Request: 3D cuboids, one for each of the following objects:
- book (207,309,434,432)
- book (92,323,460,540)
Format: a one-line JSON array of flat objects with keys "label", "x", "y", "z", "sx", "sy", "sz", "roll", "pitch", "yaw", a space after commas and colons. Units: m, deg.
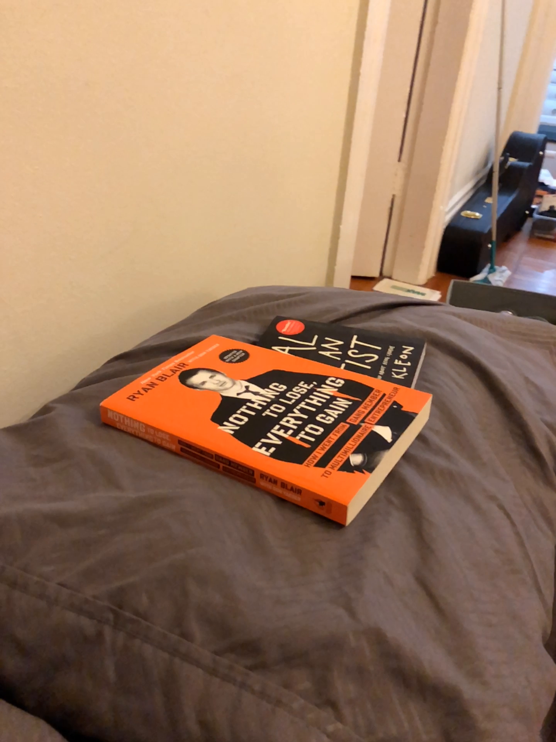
[{"label": "book", "x": 0.045, "y": -0.009, "z": 0.552, "sx": 0.170, "sy": 0.020, "sz": 0.151, "roll": 9, "pitch": 29, "yaw": 16}, {"label": "book", "x": 0.002, "y": 0.028, "z": 0.479, "sx": 0.230, "sy": 0.020, "sz": 0.171, "roll": 18, "pitch": 32, "yaw": 26}]
